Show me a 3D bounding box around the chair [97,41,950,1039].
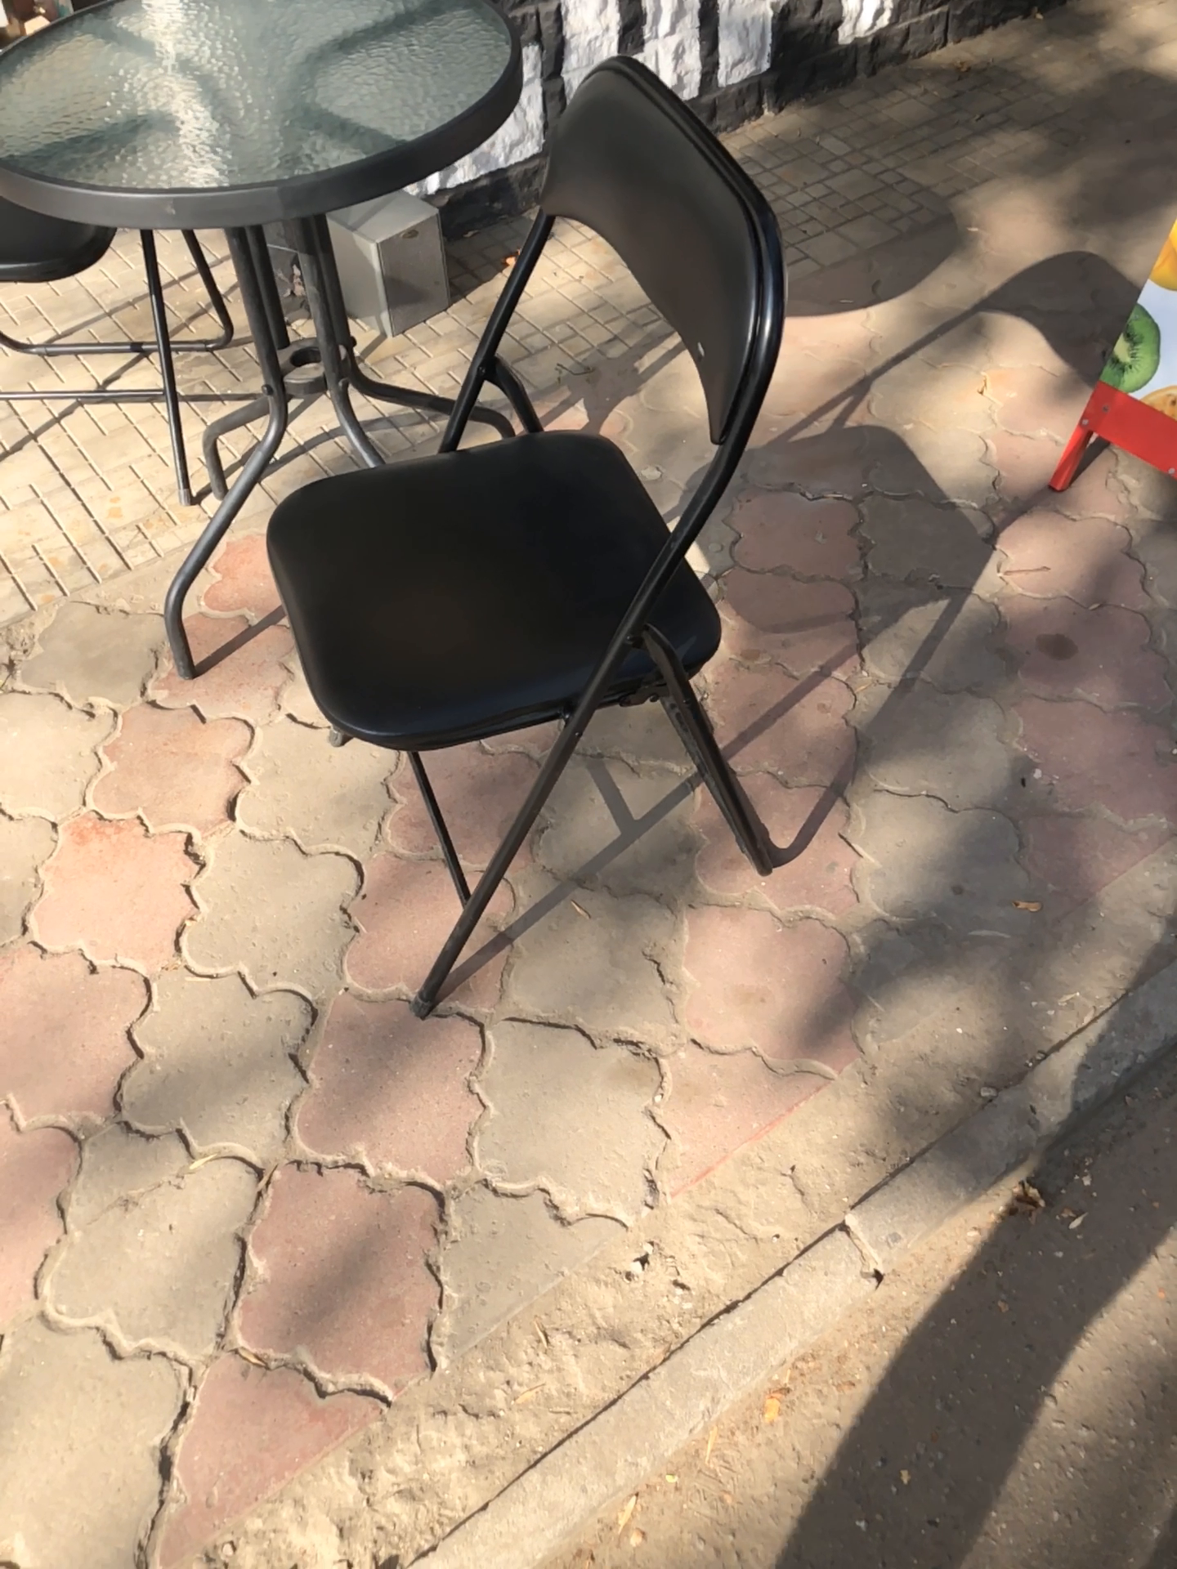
[{"bbox_3d":[-0.071,-0.225,1.223,0.500,0.638,0.532,-19,50,-12],"label":"chair"}]
